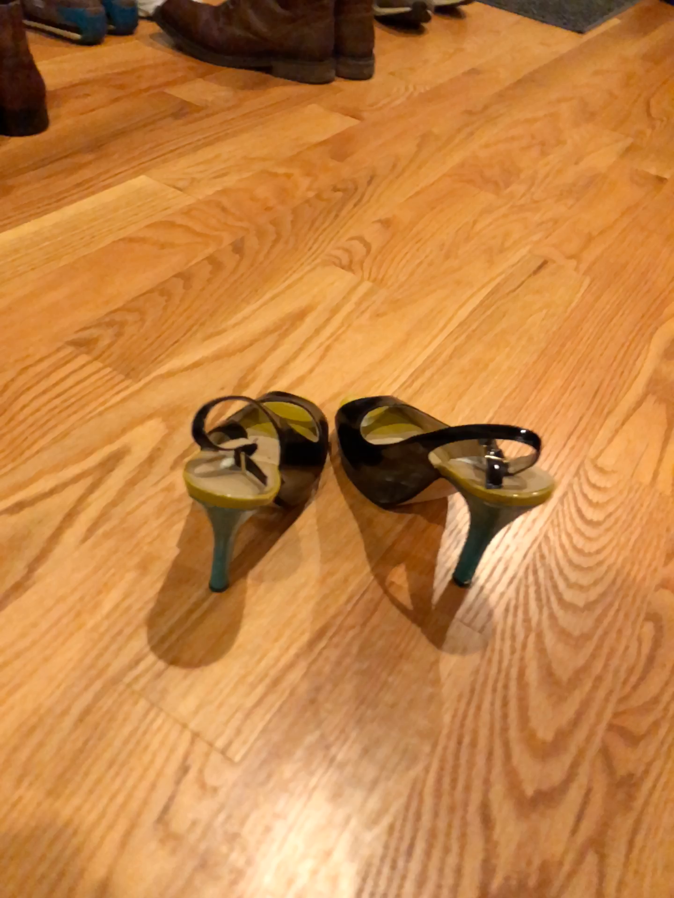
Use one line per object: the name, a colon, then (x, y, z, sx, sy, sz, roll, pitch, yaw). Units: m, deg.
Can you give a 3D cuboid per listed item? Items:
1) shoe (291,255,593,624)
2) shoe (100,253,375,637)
shoe: (0.050, -0.015, 0.488, 0.085, 0.131, 0.202, -11, 48, -22)
shoe: (-0.053, -0.012, 0.463, 0.085, 0.121, 0.205, 17, 43, 6)
